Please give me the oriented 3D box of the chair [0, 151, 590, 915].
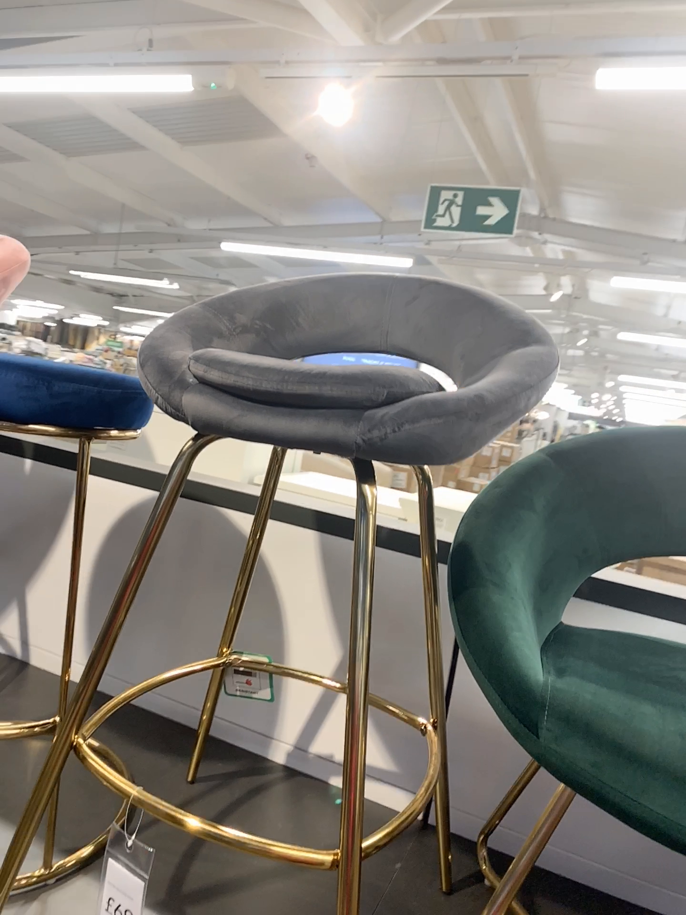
[{"bbox_3d":[-0.038,0.155,0.880,0.486,0.873,0.475,11,4,21],"label":"chair"}]
